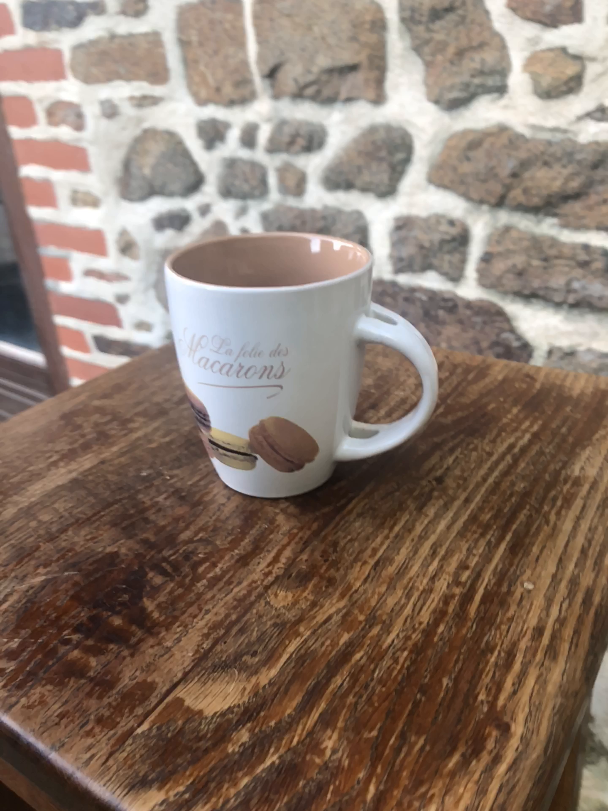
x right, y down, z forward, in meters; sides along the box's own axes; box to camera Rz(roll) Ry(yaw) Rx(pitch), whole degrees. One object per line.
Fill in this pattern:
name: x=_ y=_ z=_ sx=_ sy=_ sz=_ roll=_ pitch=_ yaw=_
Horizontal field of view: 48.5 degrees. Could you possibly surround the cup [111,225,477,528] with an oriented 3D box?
cup: x=0.004 y=-0.021 z=0.290 sx=0.123 sy=0.090 sz=0.094 roll=6 pitch=28 yaw=18
